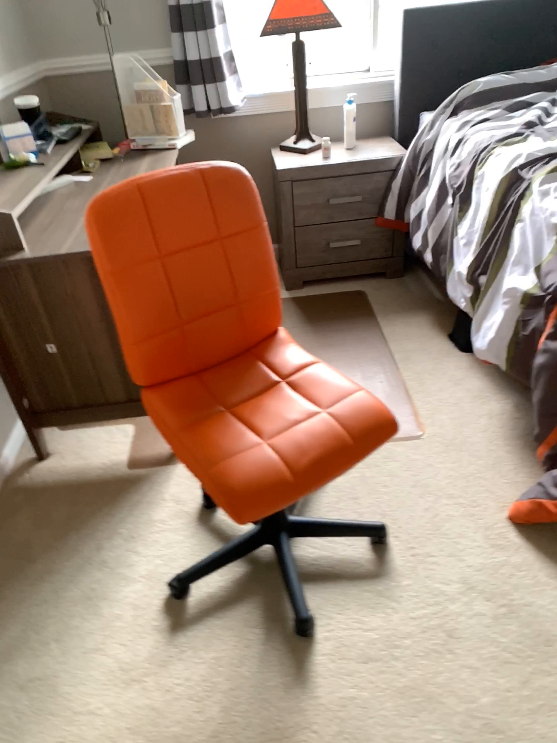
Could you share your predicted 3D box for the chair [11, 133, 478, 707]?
[{"bbox_3d":[-0.067,0.061,1.218,0.594,0.904,0.602,-22,37,-23],"label":"chair"}]
